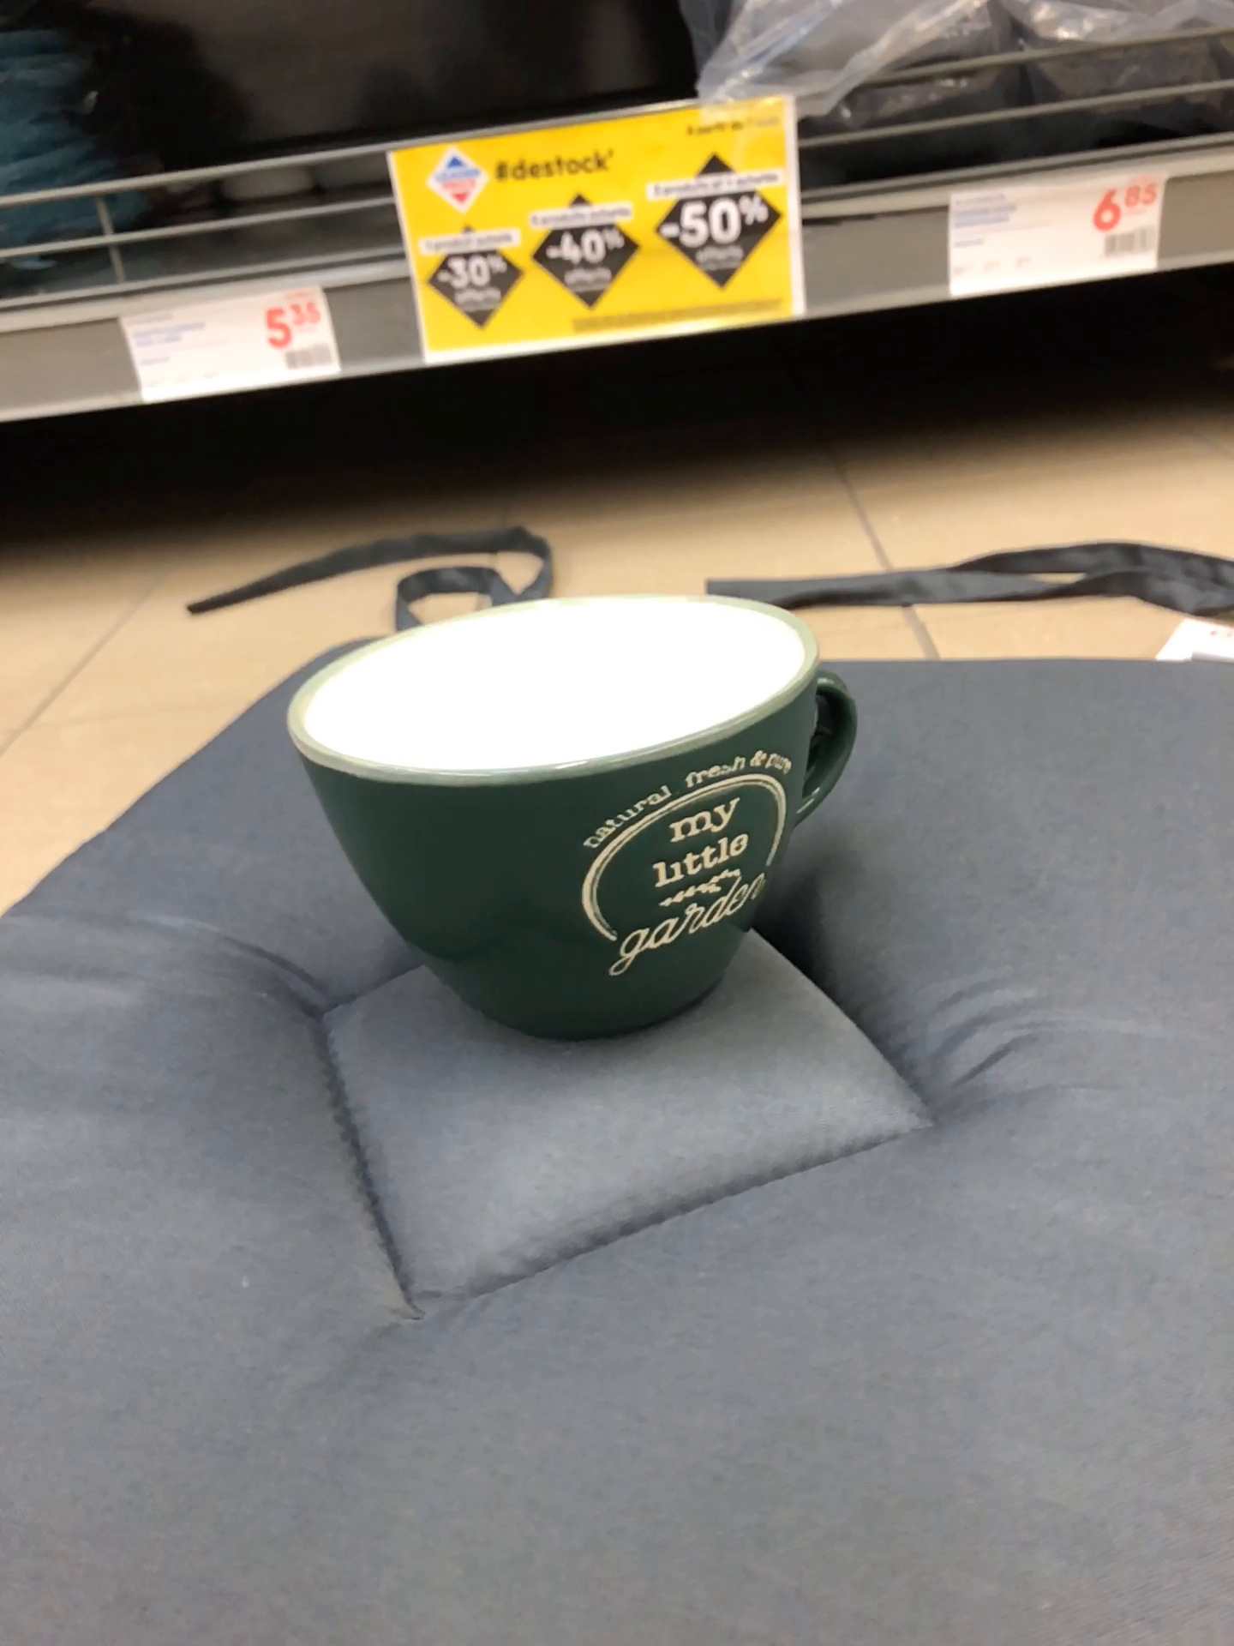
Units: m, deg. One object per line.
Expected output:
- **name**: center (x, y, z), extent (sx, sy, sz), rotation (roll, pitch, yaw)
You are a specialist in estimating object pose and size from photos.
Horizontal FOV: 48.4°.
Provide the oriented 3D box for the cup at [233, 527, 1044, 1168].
- **cup**: center (0.002, -0.008, 0.304), extent (0.130, 0.060, 0.120), rotation (-6, 28, 4)
